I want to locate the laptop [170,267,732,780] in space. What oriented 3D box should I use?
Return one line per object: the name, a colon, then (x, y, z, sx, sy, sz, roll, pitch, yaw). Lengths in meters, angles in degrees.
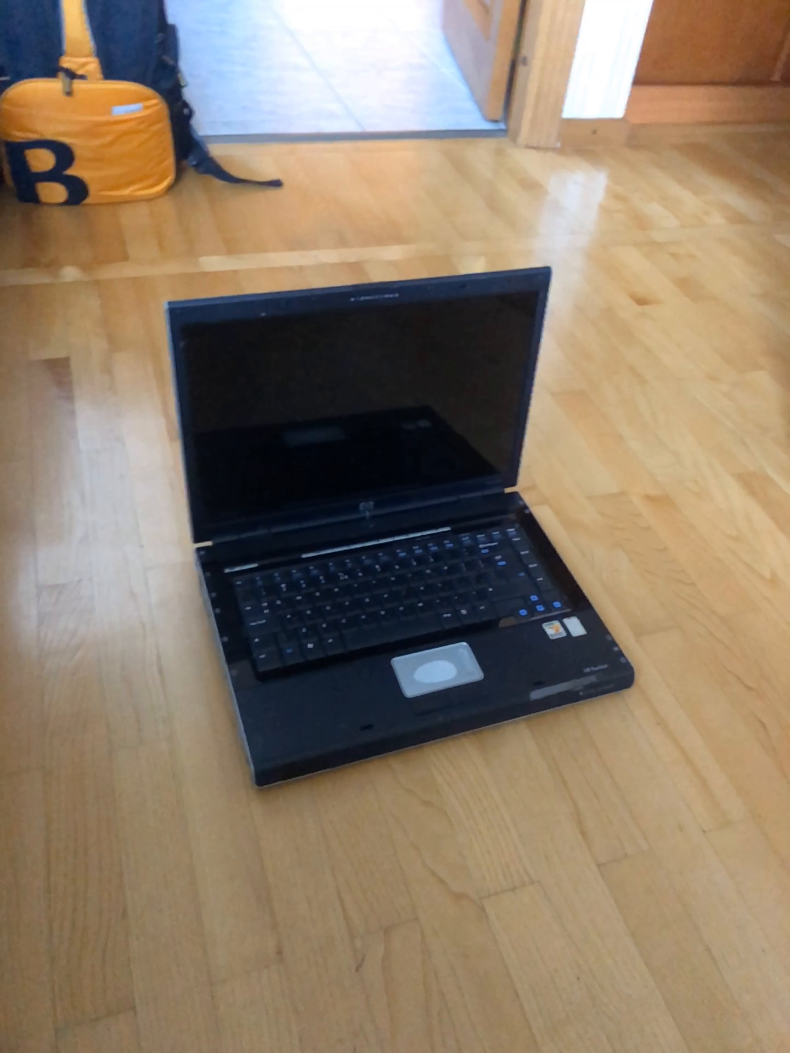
laptop: (0.019, -0.024, 0.780, 0.364, 0.254, 0.307, -10, 47, -18)
